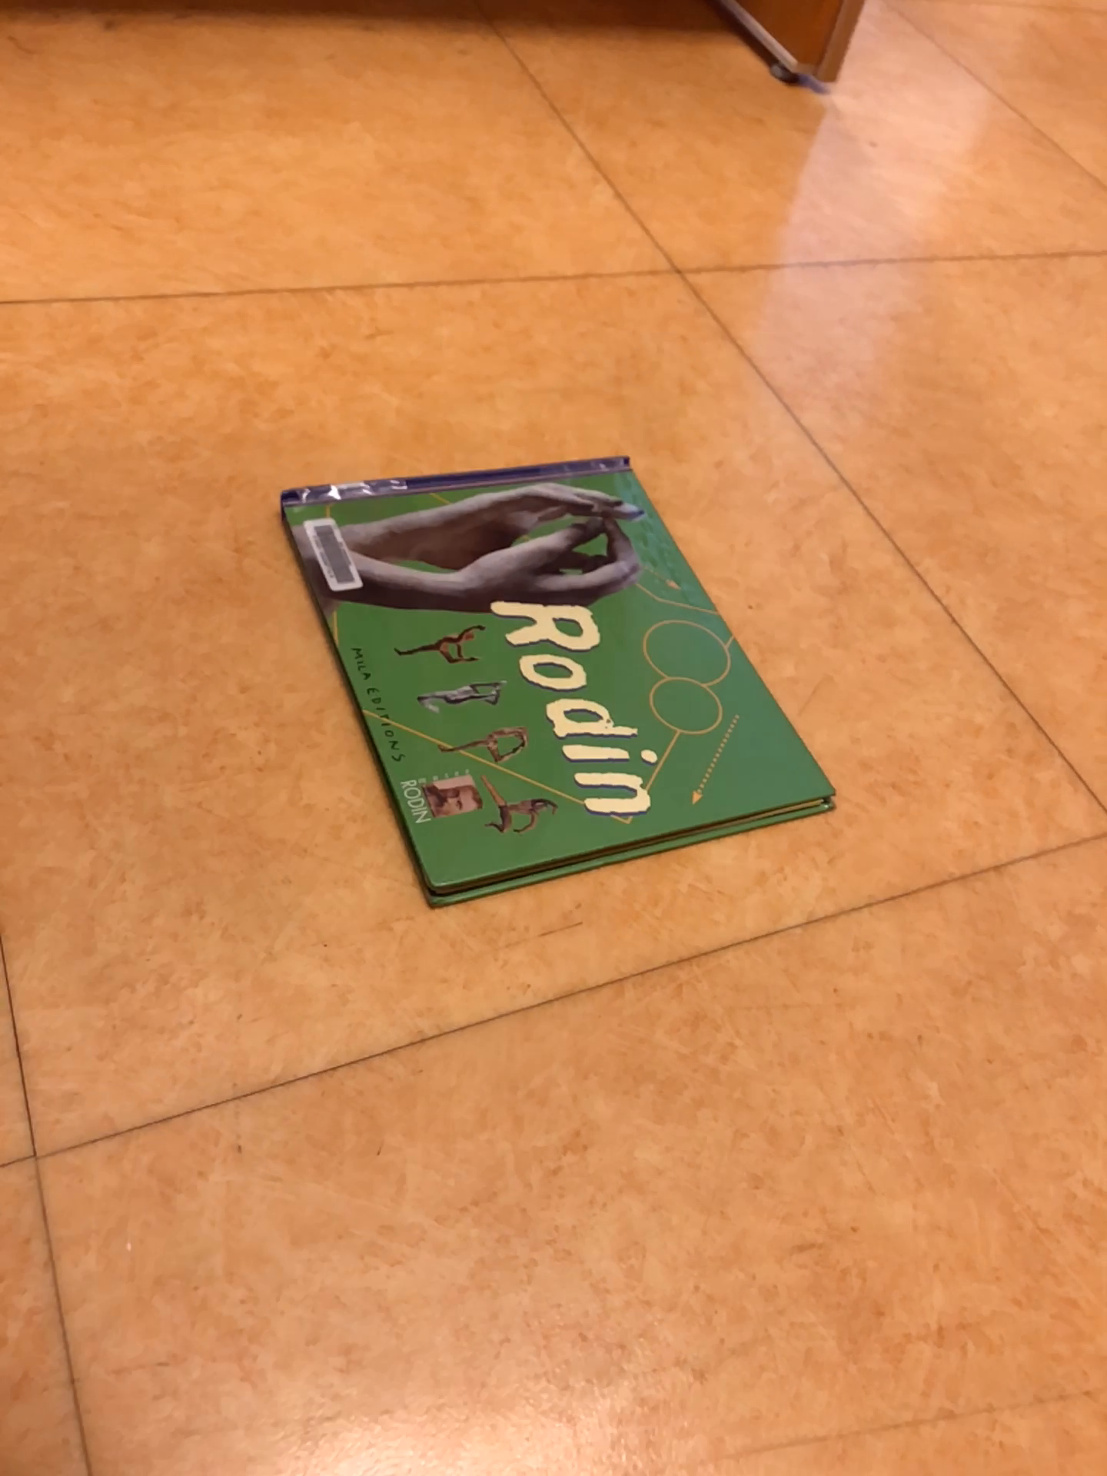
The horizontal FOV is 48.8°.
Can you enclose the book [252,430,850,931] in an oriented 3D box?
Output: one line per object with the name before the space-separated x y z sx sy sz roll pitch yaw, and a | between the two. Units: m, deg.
book | -0.010 -0.046 0.565 0.201 0.030 0.244 -11 55 -23
